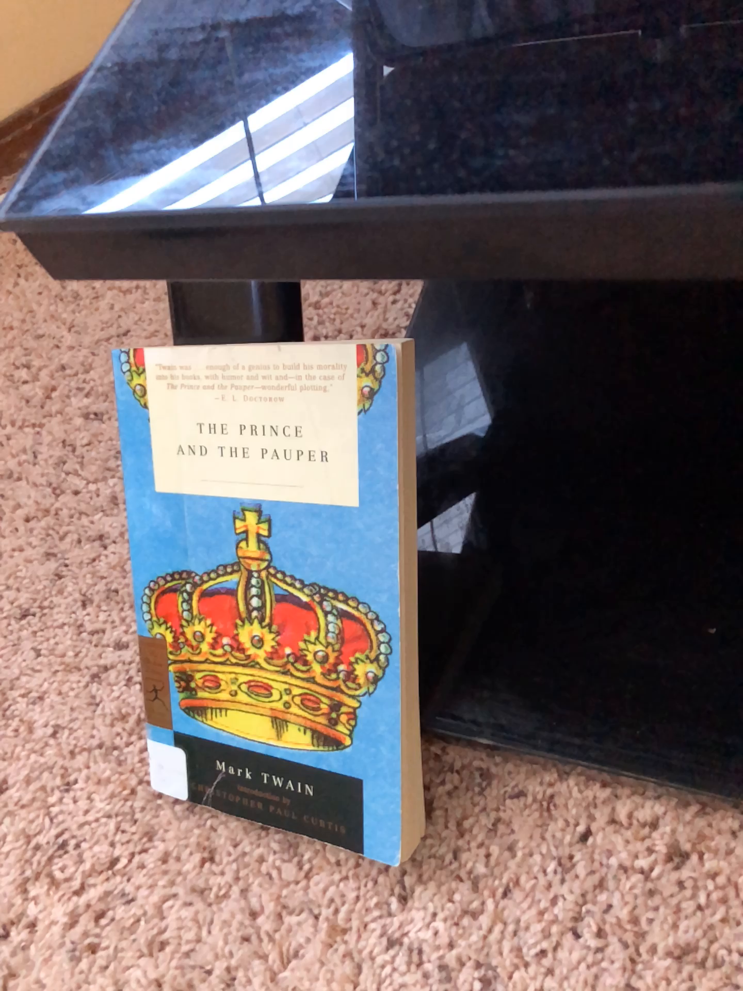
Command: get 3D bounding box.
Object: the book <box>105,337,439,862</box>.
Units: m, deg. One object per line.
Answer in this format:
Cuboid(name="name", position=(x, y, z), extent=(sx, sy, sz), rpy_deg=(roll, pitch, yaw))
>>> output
Cuboid(name="book", position=(-0.042, 0.035, 0.333), extent=(0.130, 0.030, 0.193), rpy_deg=(6, 101, 23))
